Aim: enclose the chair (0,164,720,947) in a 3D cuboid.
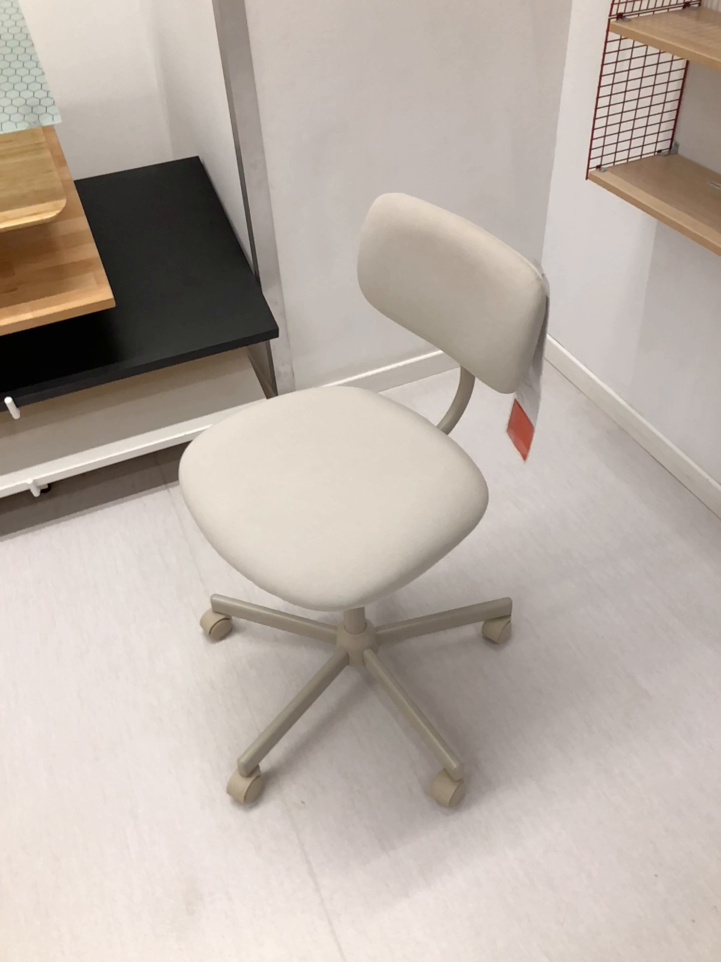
[{"bbox_3d":[-0.012,0.079,1.228,0.691,0.765,0.643,-29,48,-24],"label":"chair"}]
